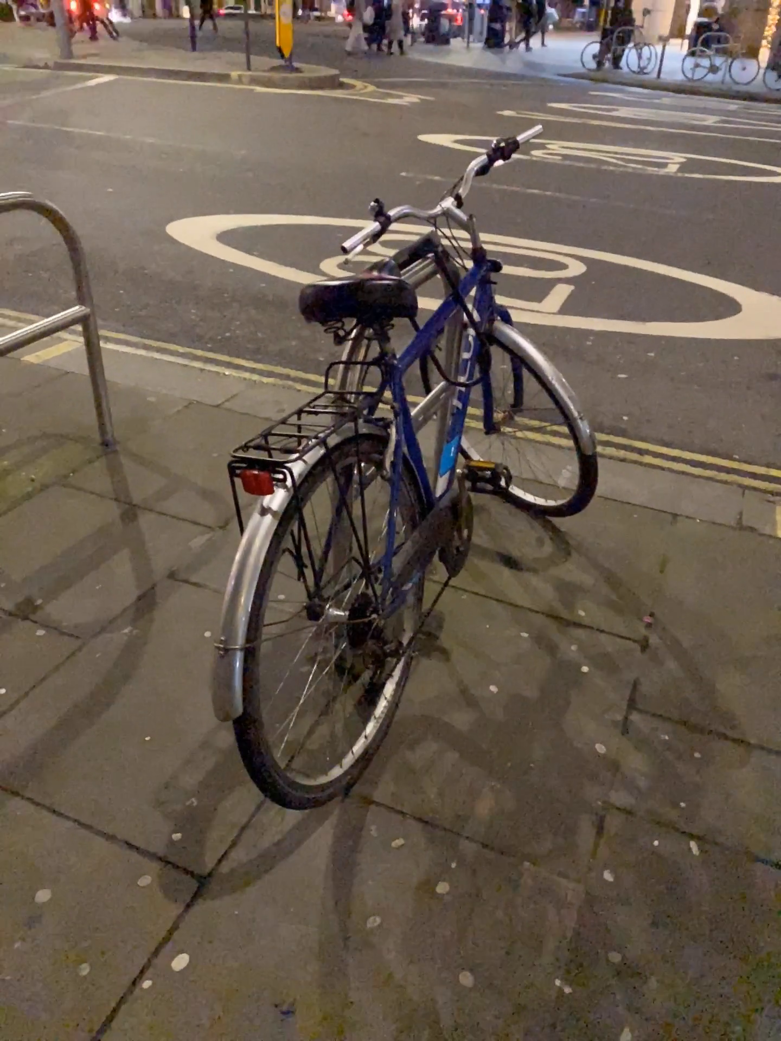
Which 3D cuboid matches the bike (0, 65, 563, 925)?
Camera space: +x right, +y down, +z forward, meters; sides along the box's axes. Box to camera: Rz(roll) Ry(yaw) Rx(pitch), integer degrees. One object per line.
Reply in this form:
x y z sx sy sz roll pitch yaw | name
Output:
-0.068 -0.284 1.796 0.655 1.108 1.604 9 35 11 | bike
